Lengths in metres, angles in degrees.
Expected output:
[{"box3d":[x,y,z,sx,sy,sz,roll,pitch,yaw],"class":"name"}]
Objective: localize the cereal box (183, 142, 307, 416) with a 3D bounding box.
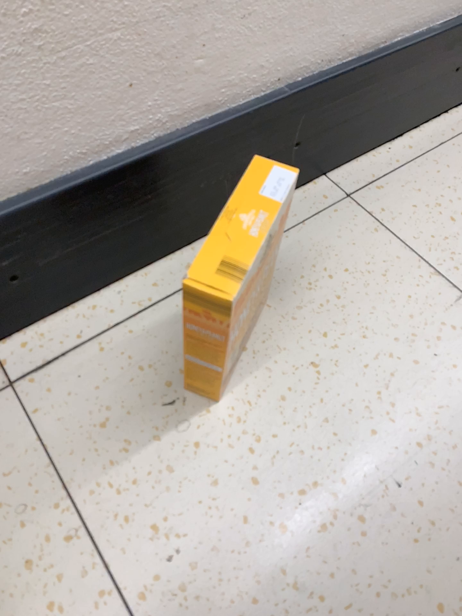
[{"box3d":[0.008,-0.016,0.537,0.050,0.268,0.191,21,58,8],"class":"cereal box"}]
